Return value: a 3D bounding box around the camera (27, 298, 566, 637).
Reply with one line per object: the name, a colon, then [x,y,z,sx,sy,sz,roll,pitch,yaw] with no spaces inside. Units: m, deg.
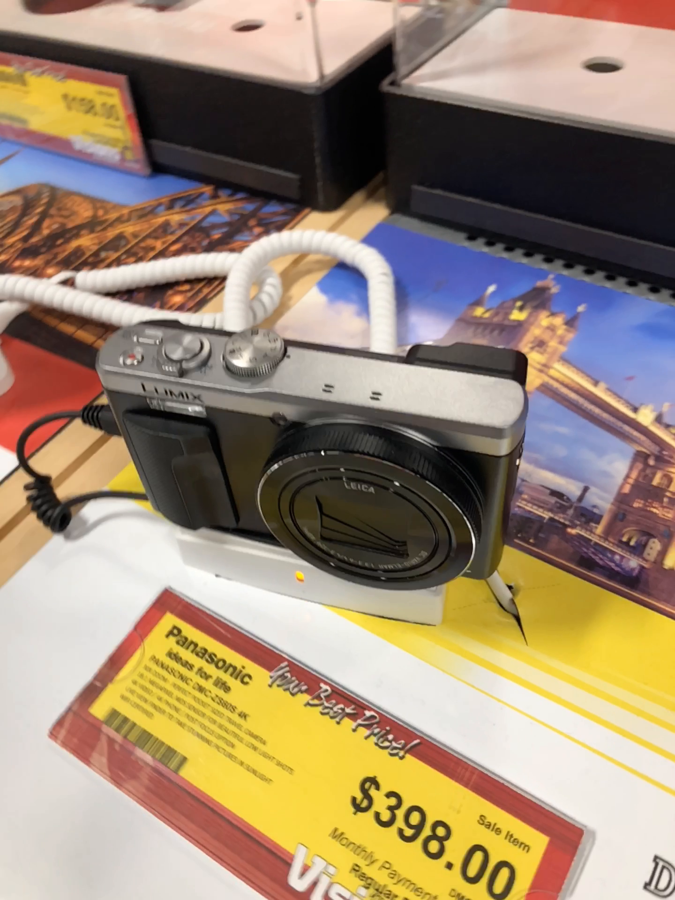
camera: [-0.008,0.003,0.197,0.120,0.060,0.040,10,50,15]
